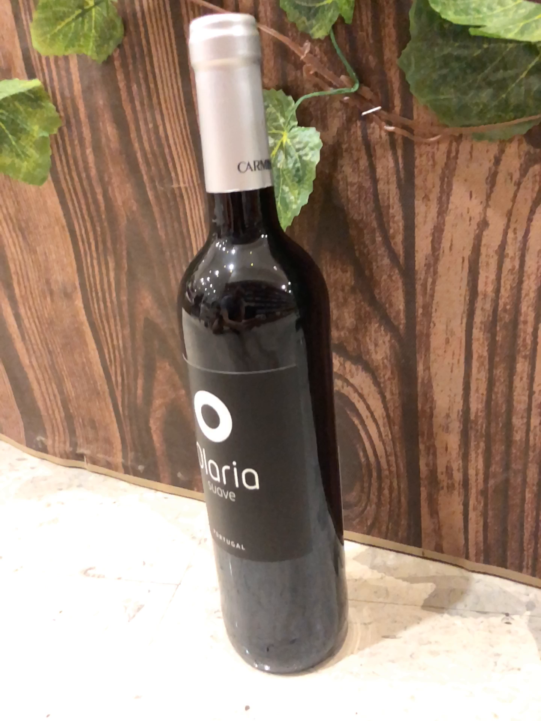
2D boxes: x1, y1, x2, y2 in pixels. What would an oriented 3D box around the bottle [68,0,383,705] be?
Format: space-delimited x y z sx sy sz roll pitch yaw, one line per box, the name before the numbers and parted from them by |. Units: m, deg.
bottle | -0.006 0.006 0.285 0.080 0.298 0.080 -5 21 2
